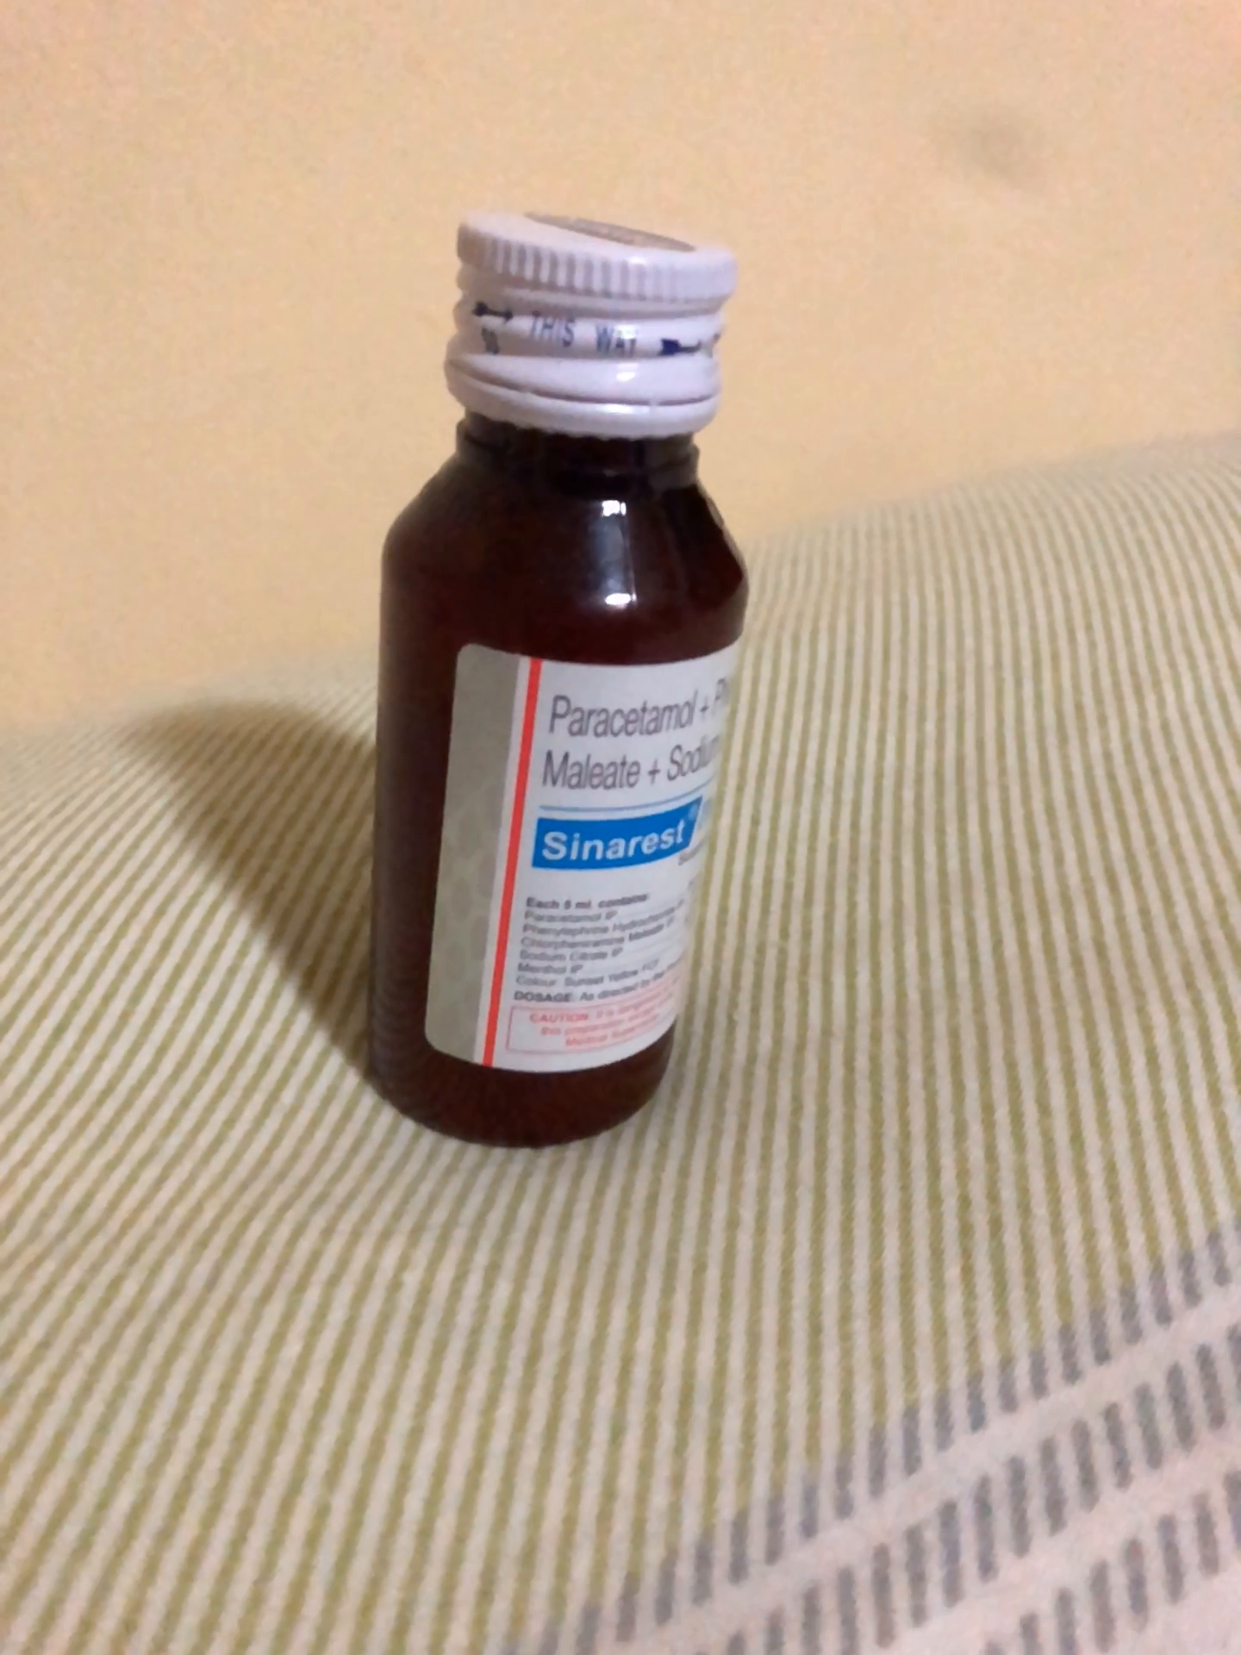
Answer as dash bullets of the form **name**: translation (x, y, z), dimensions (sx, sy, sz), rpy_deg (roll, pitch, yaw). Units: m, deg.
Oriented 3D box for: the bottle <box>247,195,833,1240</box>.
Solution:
- **bottle**: translation (-0.013, -0.010, 0.150), dimensions (0.040, 0.100, 0.037), rpy_deg (5, 32, -3)
